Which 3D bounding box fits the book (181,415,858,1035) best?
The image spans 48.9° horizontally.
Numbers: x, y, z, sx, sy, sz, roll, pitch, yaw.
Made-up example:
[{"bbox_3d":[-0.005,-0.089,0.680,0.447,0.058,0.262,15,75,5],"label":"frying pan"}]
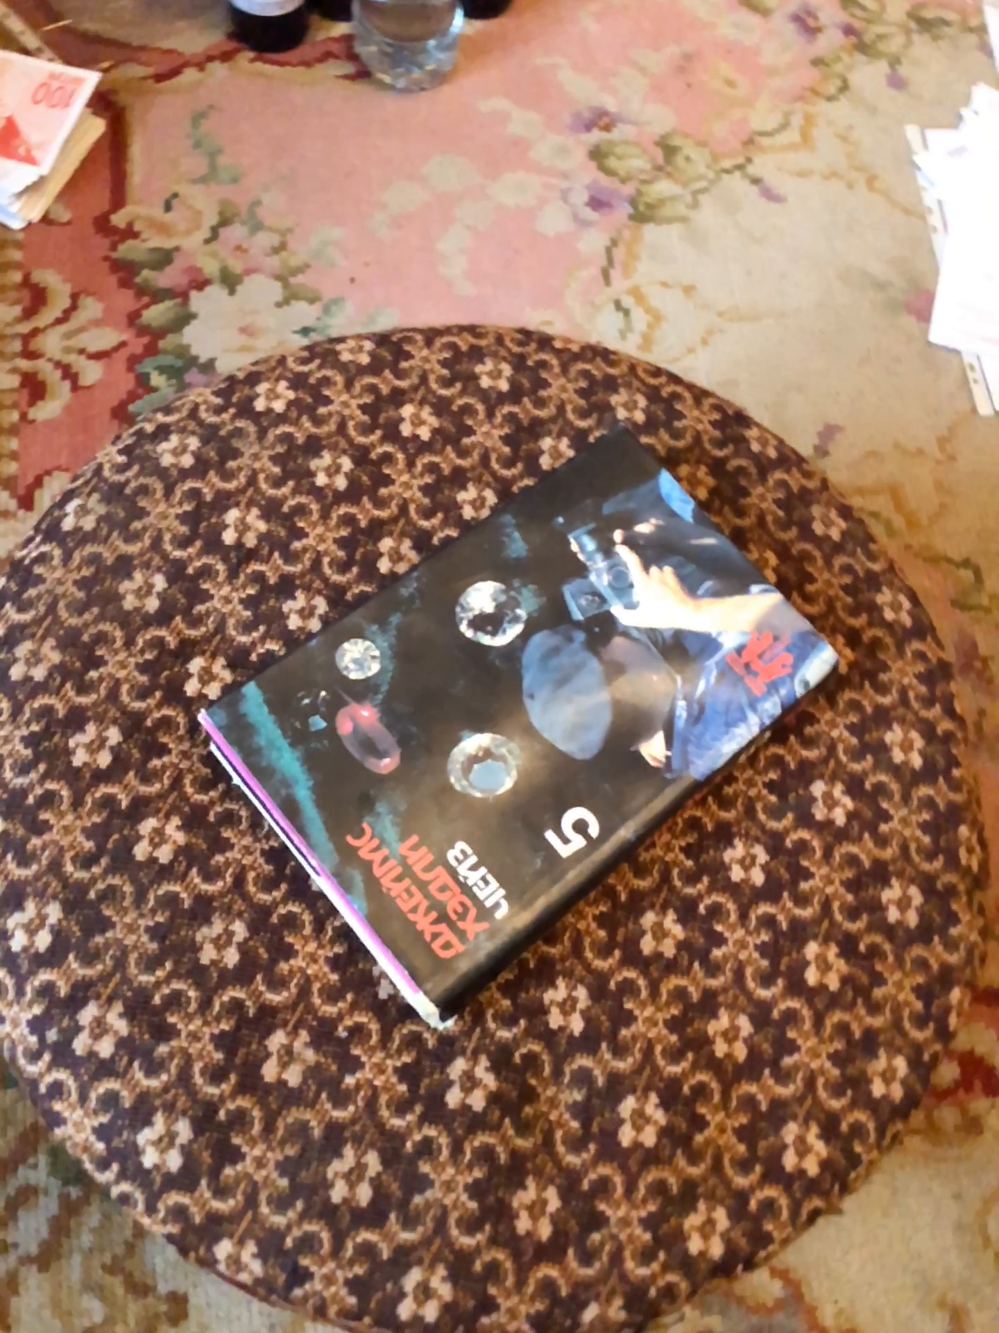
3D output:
[{"bbox_3d":[0.013,0.008,0.401,0.205,0.020,0.140,-35,77,-23],"label":"book"}]
